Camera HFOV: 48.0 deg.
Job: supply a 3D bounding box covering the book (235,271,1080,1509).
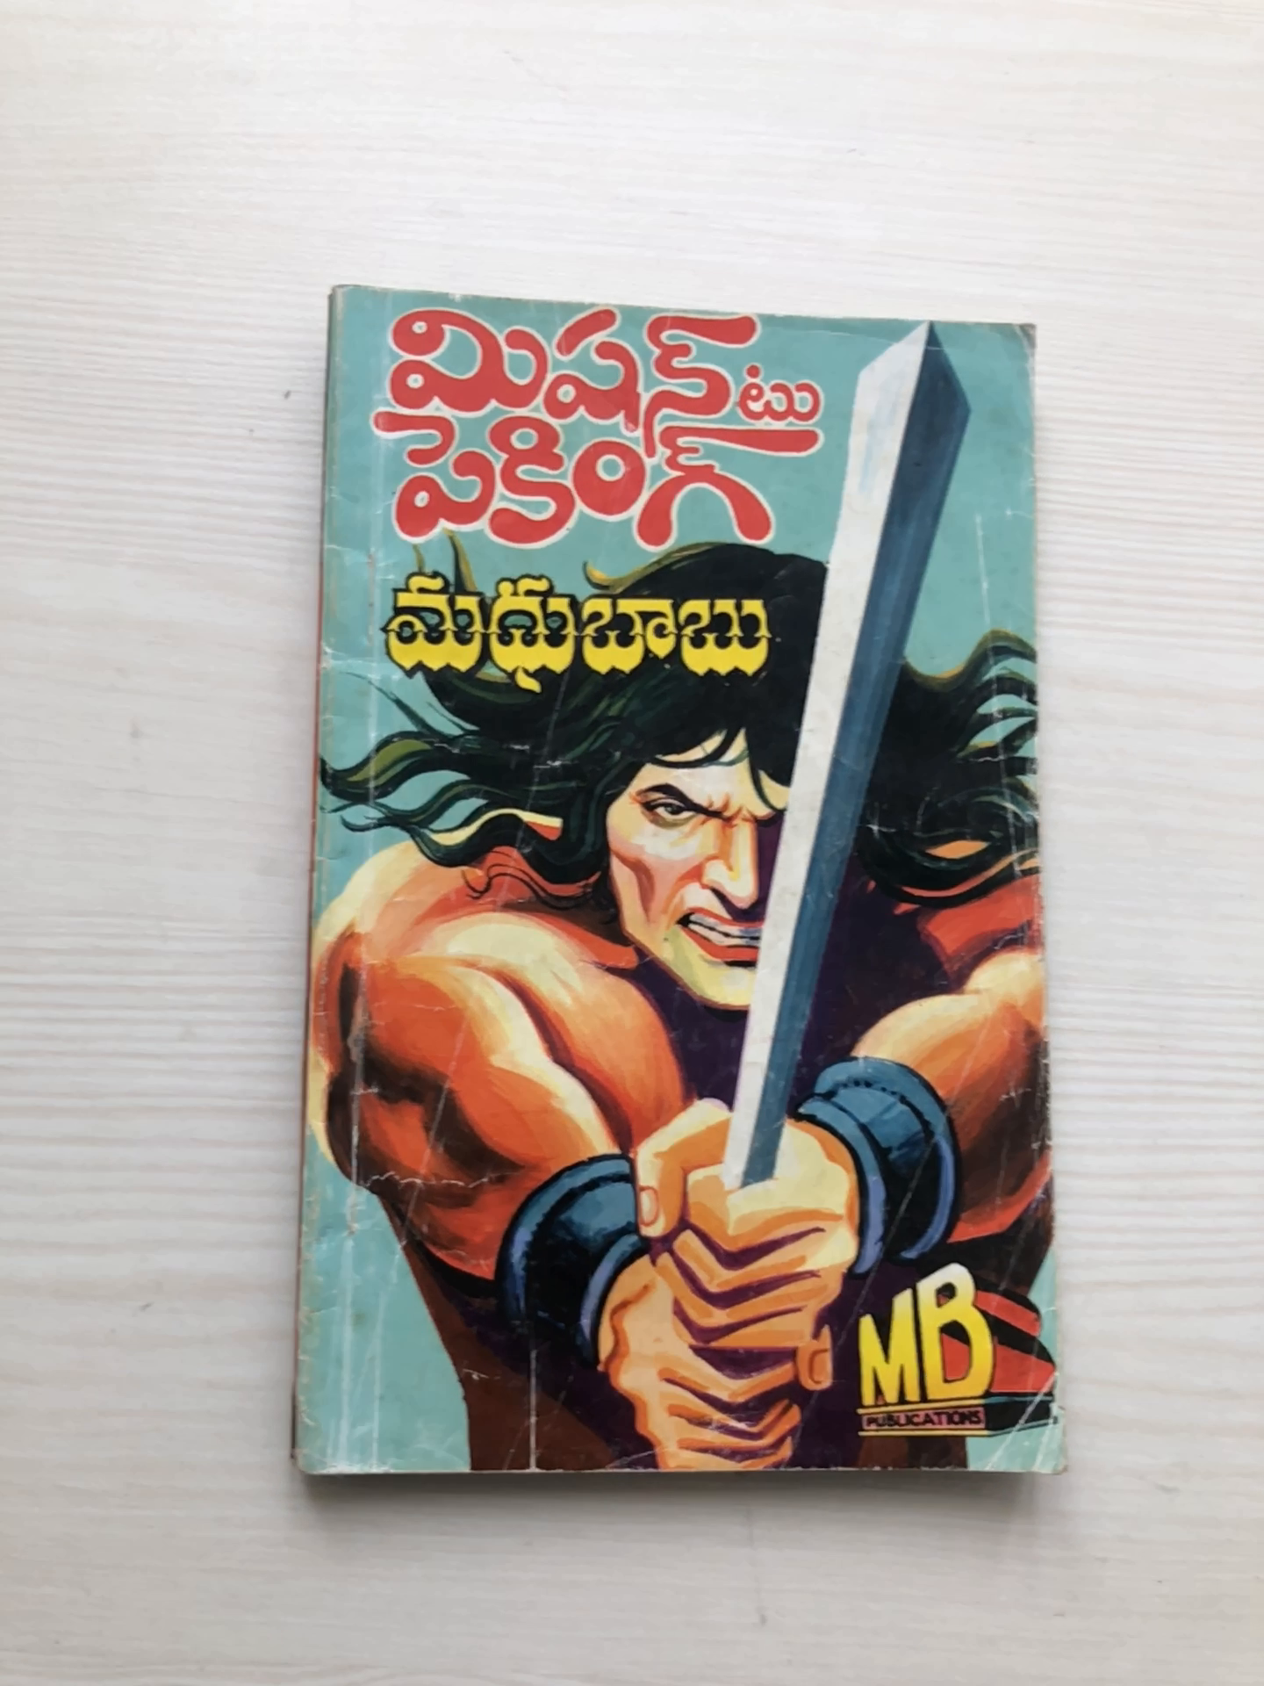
[{"bbox_3d":[0.004,0.005,0.190,0.100,0.030,0.150,1,84,-4],"label":"book"}]
